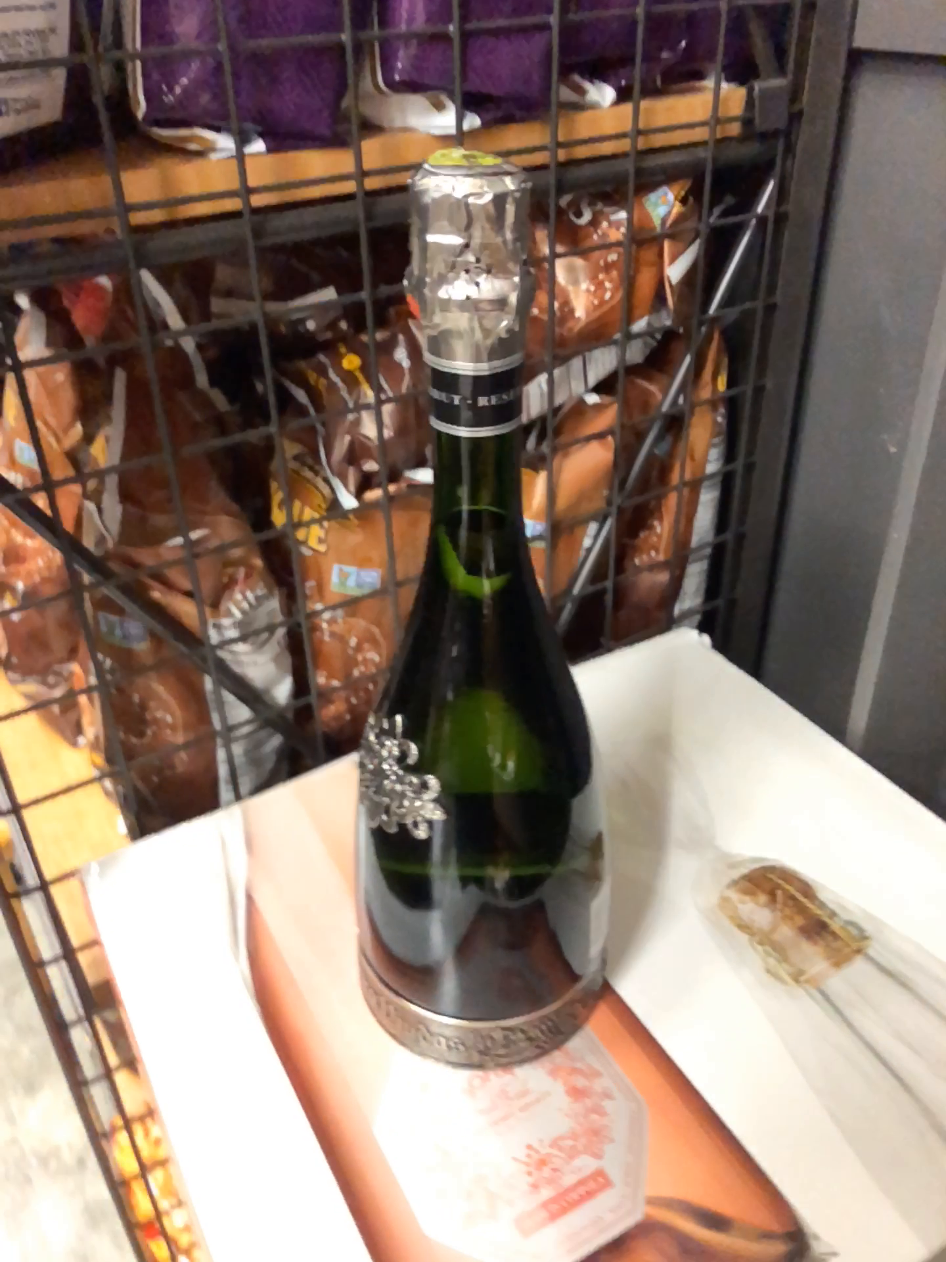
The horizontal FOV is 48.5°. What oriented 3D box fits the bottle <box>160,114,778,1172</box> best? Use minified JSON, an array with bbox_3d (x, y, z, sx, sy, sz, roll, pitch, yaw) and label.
[{"bbox_3d":[0.000,0.014,0.366,0.110,0.332,0.123,-26,40,-33],"label":"bottle"}]
